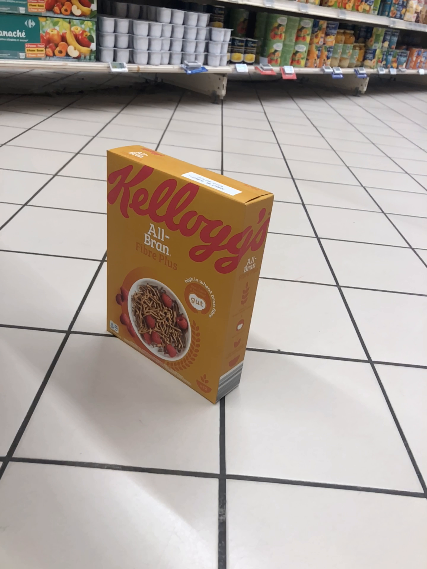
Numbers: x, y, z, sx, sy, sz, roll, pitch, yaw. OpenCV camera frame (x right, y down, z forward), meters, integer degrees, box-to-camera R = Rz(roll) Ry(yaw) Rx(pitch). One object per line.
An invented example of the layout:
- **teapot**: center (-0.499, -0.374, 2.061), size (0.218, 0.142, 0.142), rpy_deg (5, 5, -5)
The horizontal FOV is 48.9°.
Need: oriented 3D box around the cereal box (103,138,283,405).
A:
- **cereal box**: center (-0.038, -0.019, 0.525), size (0.190, 0.239, 0.060), rpy_deg (27, 34, 32)
